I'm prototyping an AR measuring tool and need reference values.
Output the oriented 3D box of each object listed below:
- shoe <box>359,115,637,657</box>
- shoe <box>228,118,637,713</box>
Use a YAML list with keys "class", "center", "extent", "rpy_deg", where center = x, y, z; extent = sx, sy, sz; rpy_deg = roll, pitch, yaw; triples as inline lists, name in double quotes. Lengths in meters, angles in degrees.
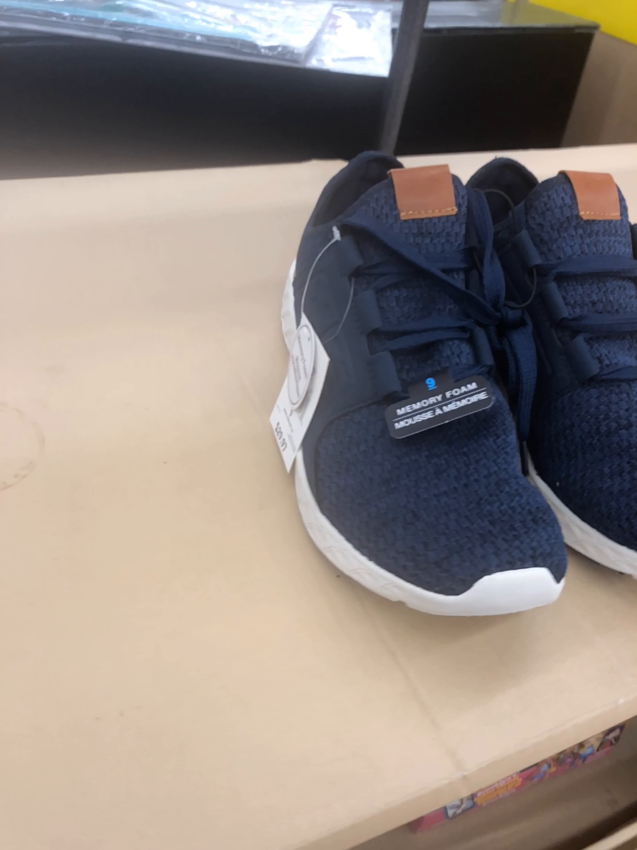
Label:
- class: "shoe"
  center: [0.137, -0.051, 0.369]
  extent: [0.110, 0.120, 0.291]
  rpy_deg: [-9, 42, -20]
- class: "shoe"
  center: [0.034, -0.036, 0.353]
  extent: [0.110, 0.130, 0.291]
  rpy_deg: [-4, 41, -15]
